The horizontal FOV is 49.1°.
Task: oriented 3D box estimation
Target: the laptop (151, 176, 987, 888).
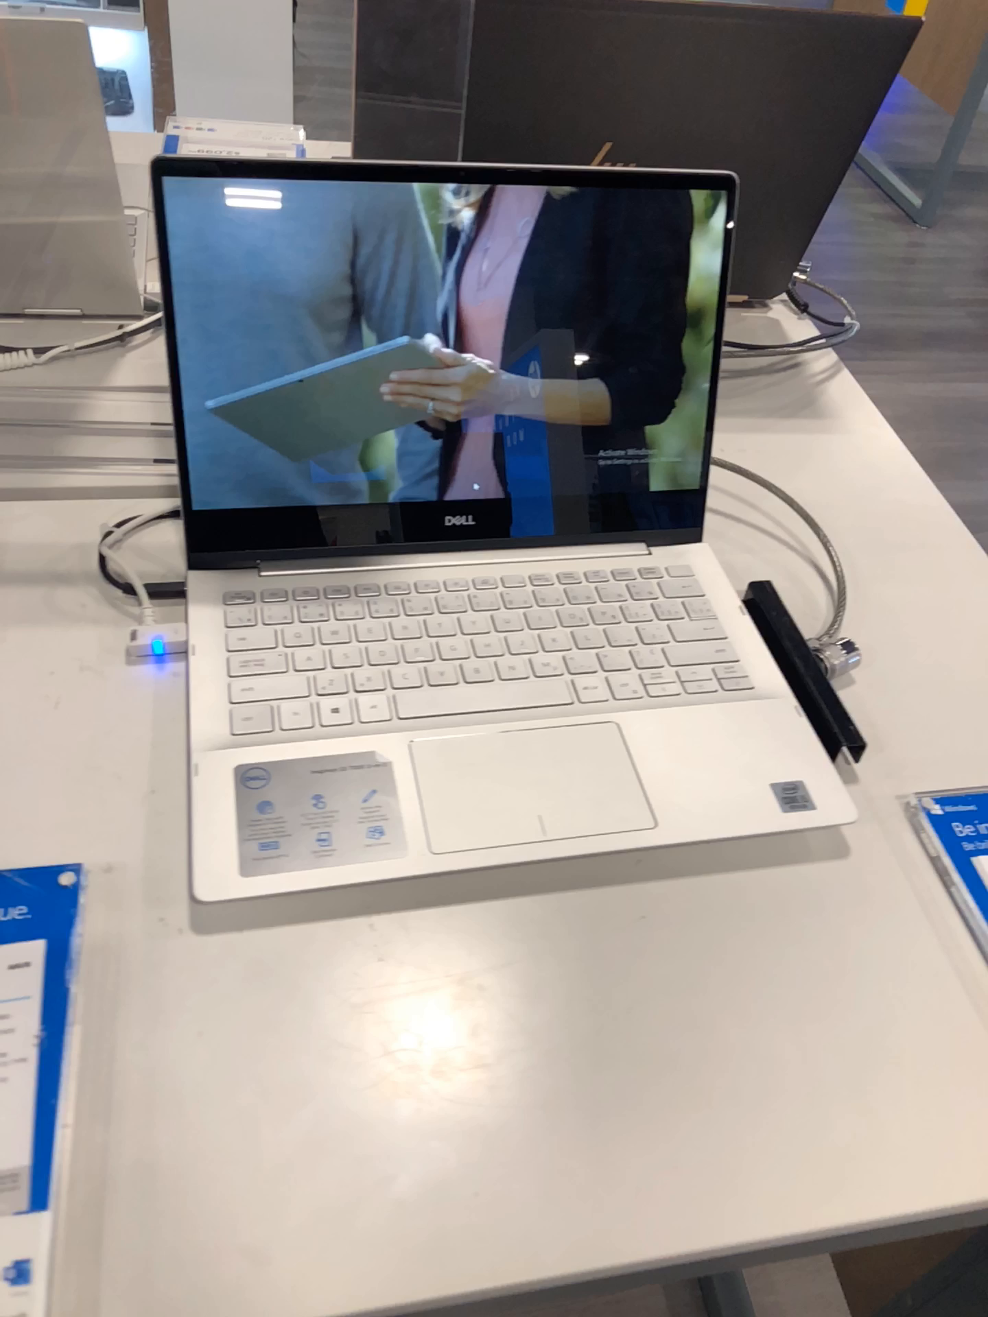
[{"bbox_3d":[0.004,-0.072,0.490,0.285,0.186,0.265,-4,44,-13],"label":"laptop"}]
